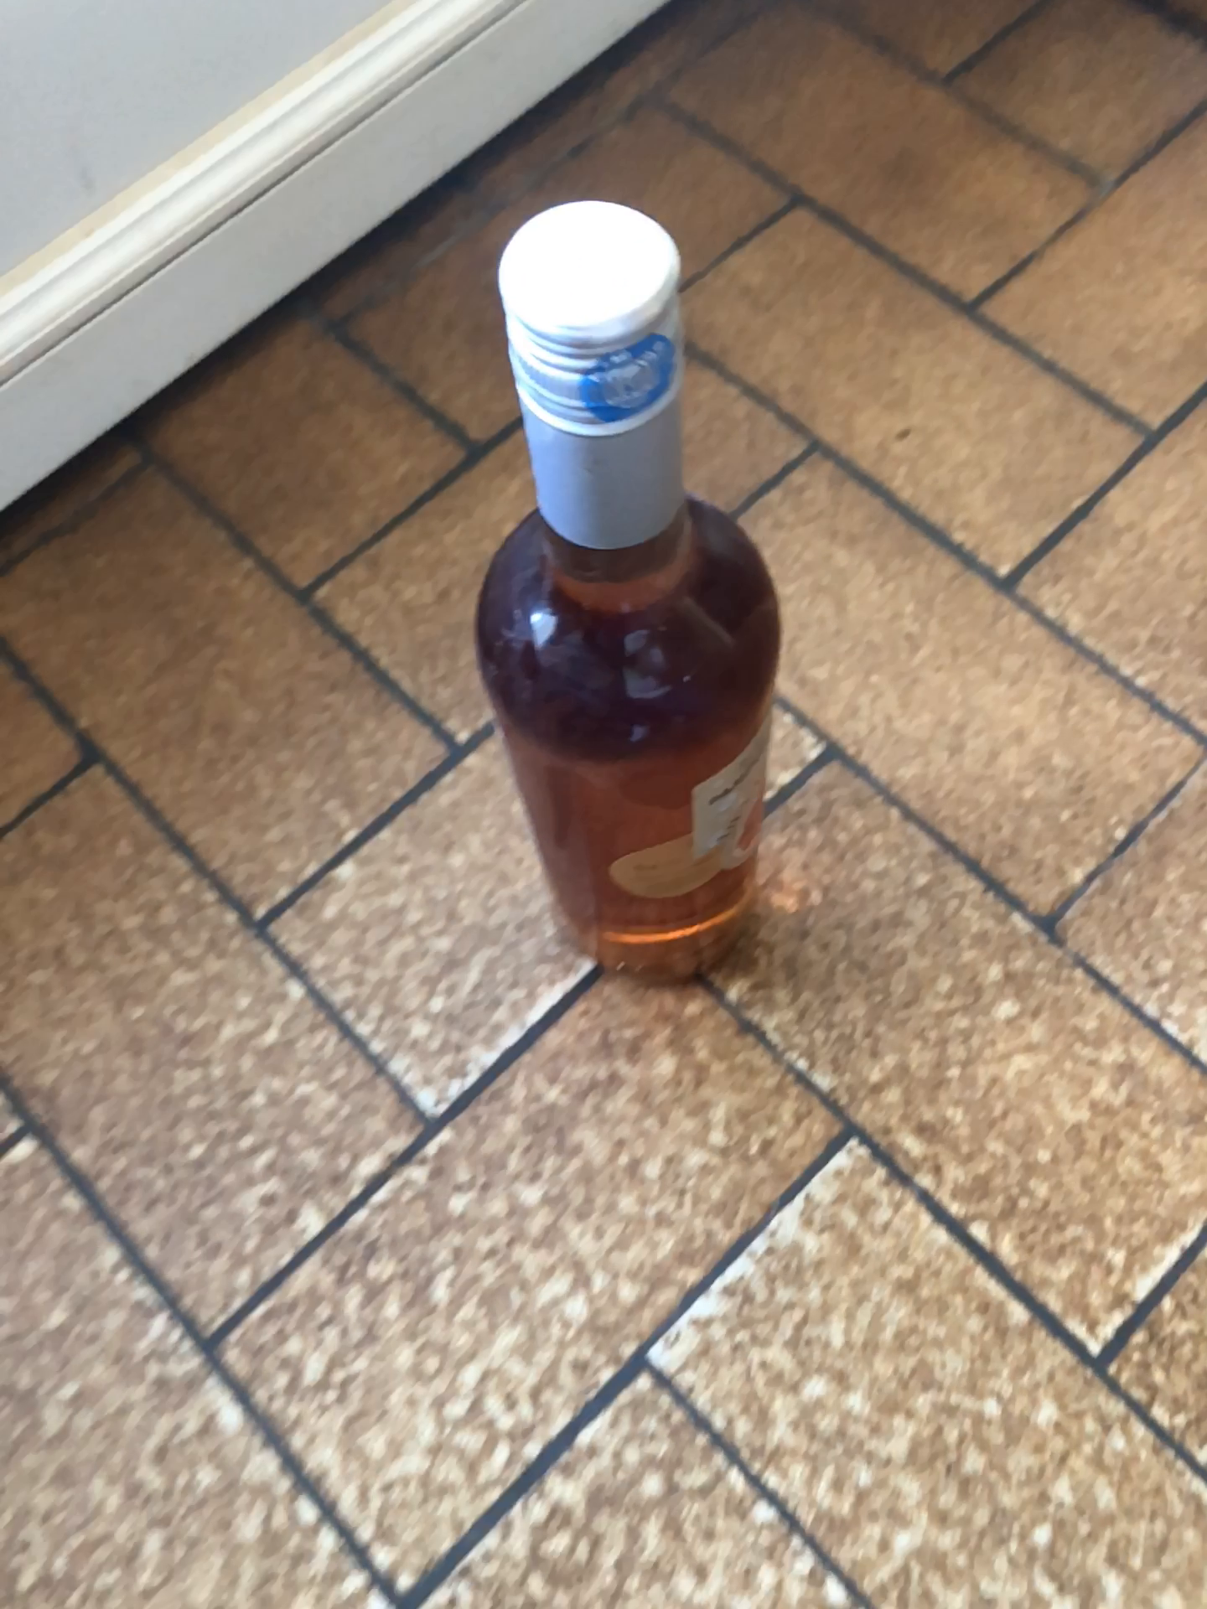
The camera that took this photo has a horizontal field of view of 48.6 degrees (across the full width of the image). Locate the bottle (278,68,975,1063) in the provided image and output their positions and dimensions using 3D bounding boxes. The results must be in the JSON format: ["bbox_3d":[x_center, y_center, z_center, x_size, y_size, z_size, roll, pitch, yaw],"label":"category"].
[{"bbox_3d":[0.013,-0.020,0.341,0.080,0.289,0.080,-1,66,3],"label":"bottle"}]
